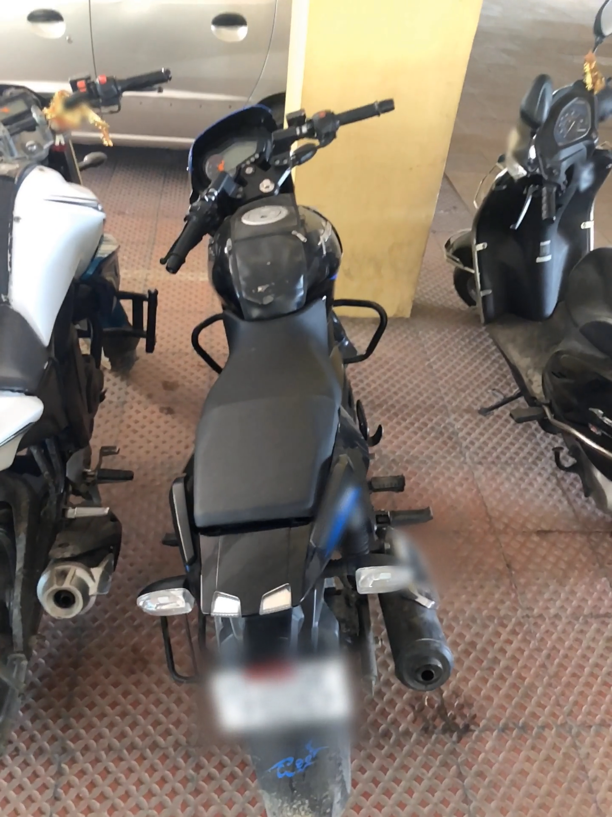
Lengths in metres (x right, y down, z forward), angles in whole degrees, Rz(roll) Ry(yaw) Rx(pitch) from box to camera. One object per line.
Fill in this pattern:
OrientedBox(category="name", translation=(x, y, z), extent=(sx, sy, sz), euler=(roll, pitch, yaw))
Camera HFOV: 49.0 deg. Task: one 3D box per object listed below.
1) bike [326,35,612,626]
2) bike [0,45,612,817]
OrientedBox(category="bike", translation=(0.737, -0.400, 2.305), extent=(0.713, 1.222, 1.721), euler=(-7, 41, -16))
OrientedBox(category="bike", translation=(-0.234, -0.134, 1.678), extent=(0.745, 0.988, 1.853), euler=(-1, 39, -9))
